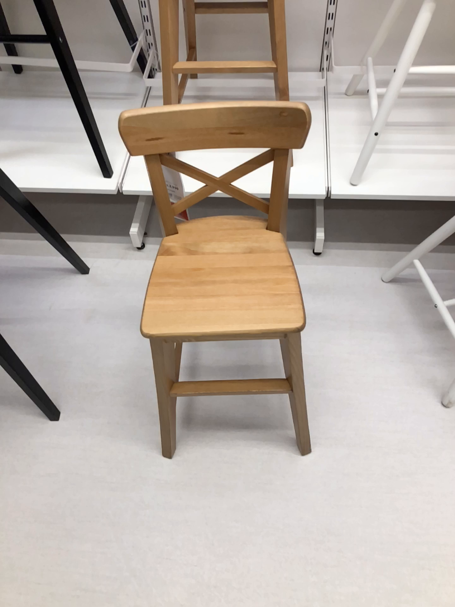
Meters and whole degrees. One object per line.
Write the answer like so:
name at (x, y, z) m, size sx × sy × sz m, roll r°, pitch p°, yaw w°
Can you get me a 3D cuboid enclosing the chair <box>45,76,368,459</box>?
chair at (-0.007, -0.008, 1.001) m, size 0.390 × 0.676 × 0.432 m, roll -1°, pitch 55°, yaw 3°
